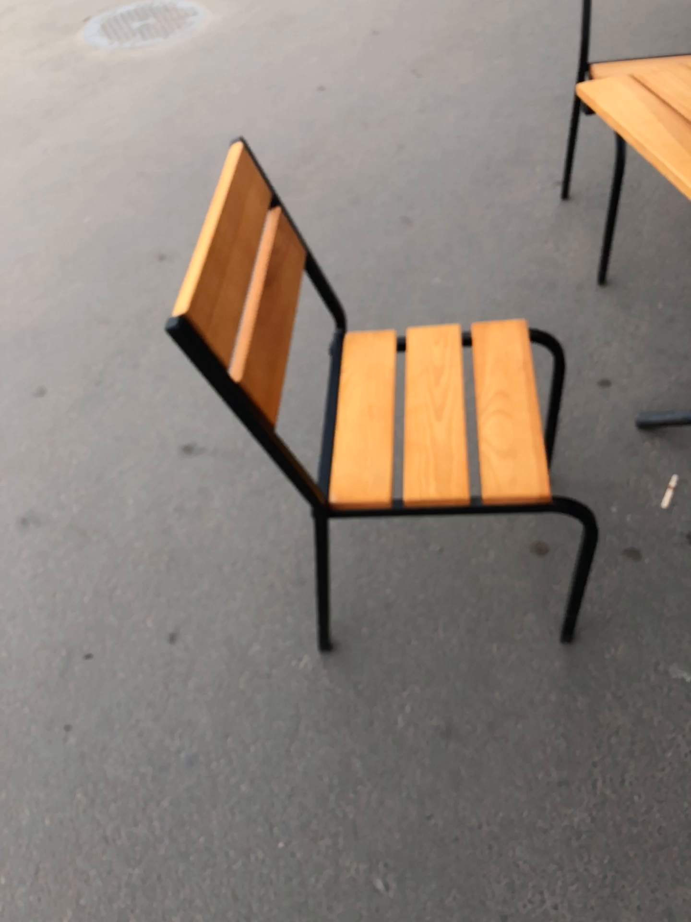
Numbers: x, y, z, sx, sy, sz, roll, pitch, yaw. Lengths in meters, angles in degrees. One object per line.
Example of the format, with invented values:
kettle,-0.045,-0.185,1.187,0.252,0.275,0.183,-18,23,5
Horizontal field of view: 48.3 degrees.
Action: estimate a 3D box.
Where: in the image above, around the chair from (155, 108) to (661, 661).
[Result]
chair,0.117,-0.081,1.303,0.560,0.767,0.502,-1,48,7
